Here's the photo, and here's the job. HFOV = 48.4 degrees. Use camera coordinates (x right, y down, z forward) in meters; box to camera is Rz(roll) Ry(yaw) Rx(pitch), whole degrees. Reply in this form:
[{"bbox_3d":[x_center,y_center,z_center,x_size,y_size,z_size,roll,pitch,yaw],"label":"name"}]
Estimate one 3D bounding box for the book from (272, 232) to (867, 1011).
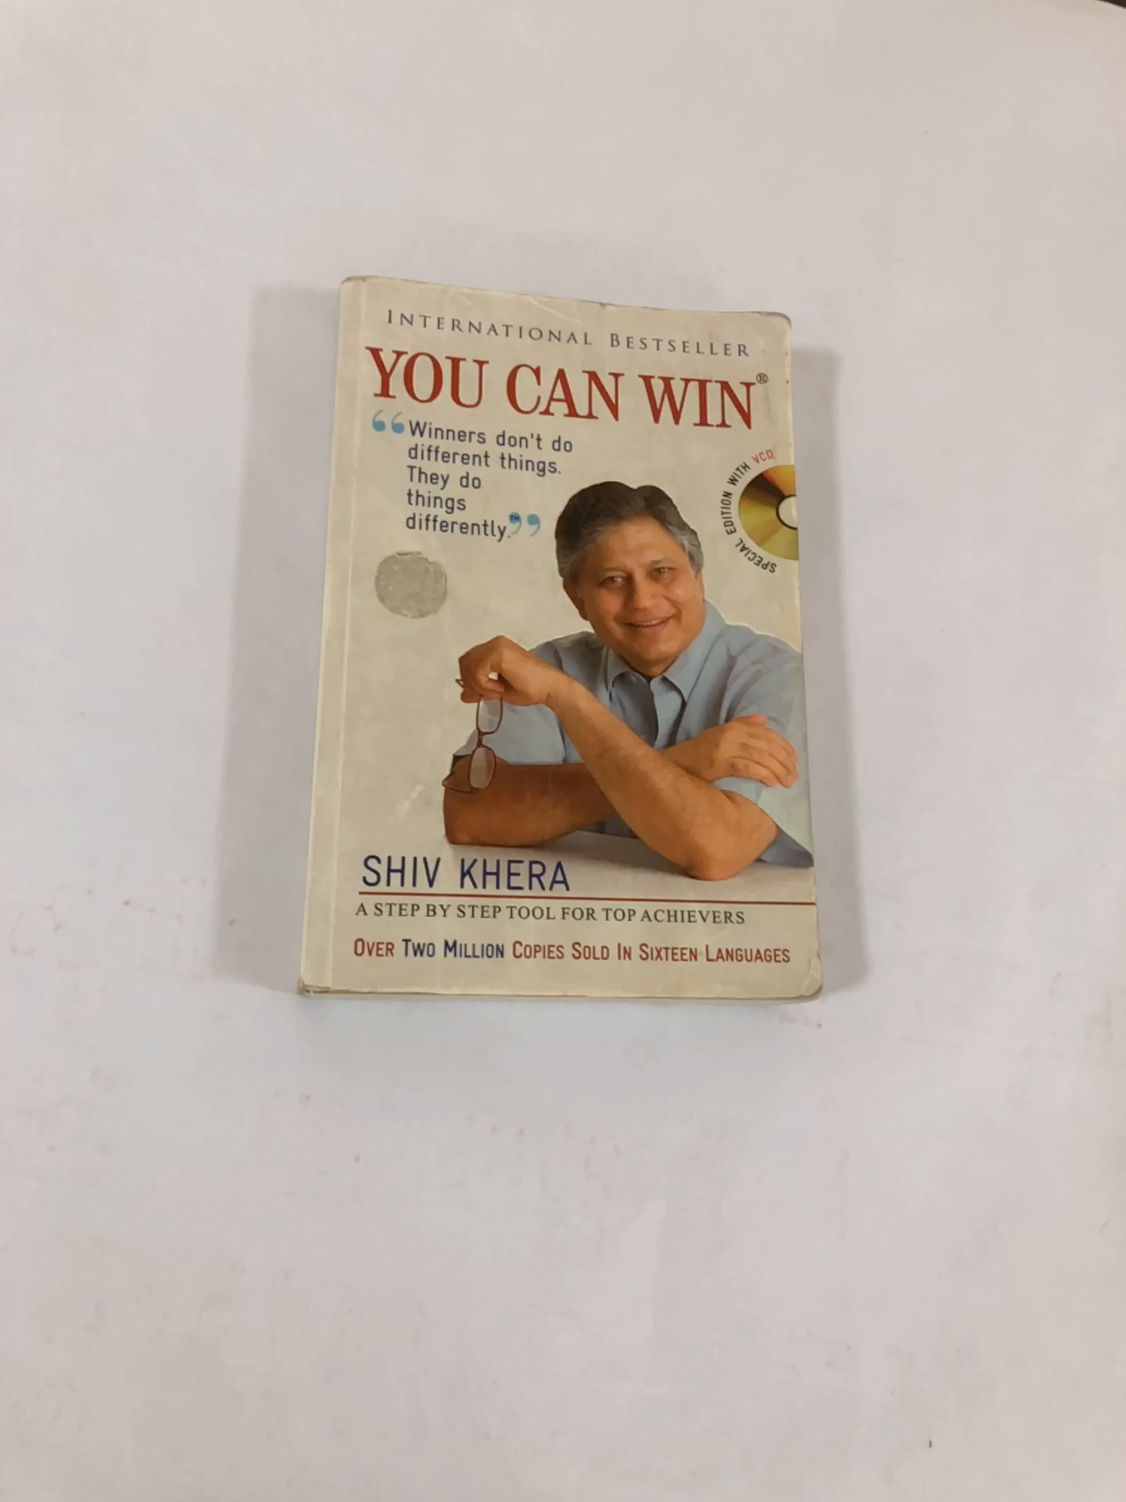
[{"bbox_3d":[0.001,-0.035,0.356,0.150,0.040,0.210,3,75,-11],"label":"book"}]
